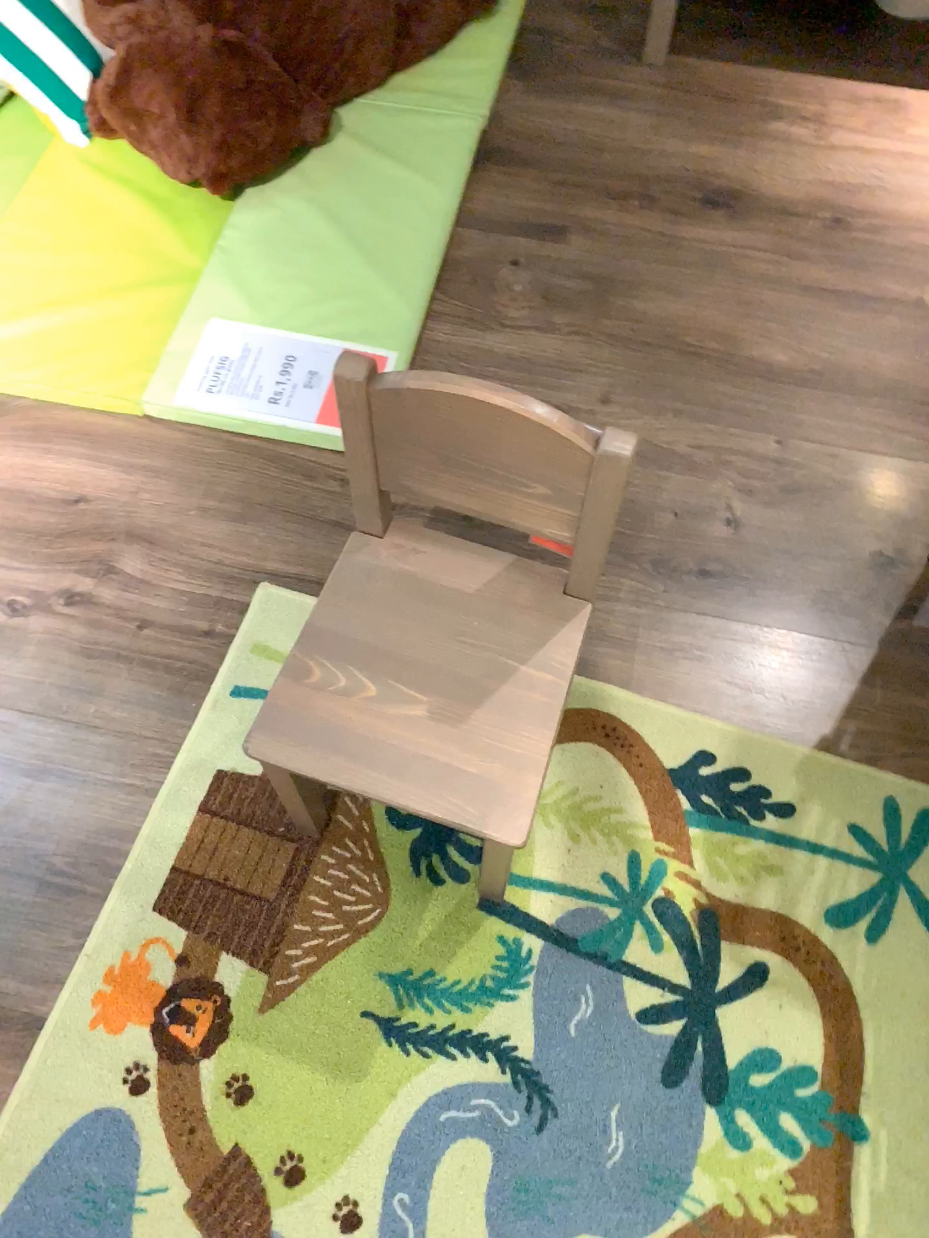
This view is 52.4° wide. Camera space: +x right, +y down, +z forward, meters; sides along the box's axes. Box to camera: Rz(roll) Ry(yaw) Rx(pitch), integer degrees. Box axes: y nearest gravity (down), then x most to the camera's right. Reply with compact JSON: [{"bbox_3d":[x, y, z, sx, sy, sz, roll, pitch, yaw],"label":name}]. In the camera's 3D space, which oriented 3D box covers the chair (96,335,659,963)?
[{"bbox_3d":[-0.048,0.068,0.873,0.290,0.489,0.331,17,63,8],"label":"chair"}]
